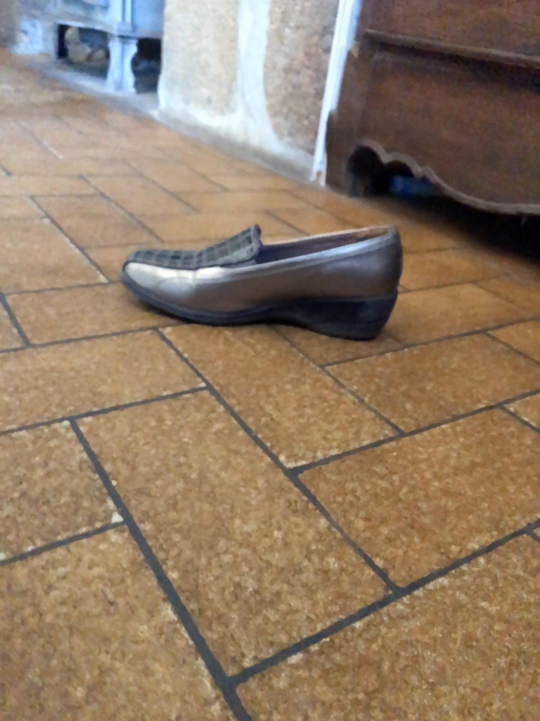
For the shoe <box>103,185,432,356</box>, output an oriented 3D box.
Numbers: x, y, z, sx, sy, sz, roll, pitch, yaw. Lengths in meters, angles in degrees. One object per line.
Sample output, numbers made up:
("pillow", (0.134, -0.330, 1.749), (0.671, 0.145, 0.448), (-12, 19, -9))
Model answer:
("shoe", (-0.005, -0.081, 0.531), (0.260, 0.089, 0.091), (7, 29, -3))
